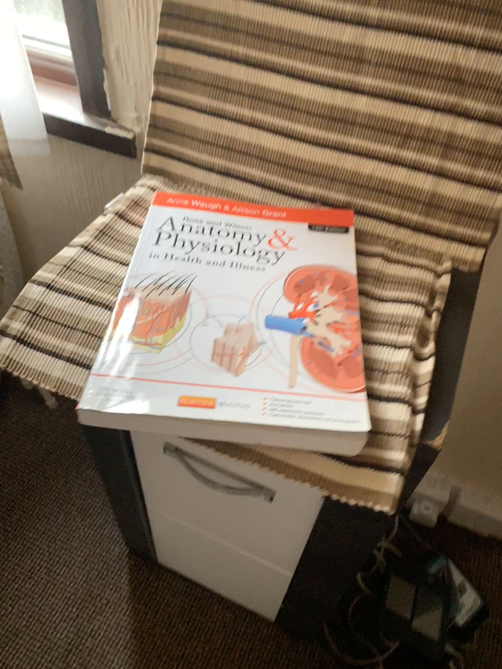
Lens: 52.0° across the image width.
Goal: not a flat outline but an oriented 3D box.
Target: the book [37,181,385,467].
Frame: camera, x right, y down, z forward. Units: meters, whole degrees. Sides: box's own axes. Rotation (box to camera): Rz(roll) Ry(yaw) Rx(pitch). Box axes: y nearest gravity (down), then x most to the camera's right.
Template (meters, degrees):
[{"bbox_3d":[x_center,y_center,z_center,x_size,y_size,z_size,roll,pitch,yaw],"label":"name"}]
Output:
[{"bbox_3d":[-0.017,-0.032,0.461,0.240,0.040,0.283,6,48,1],"label":"book"}]
